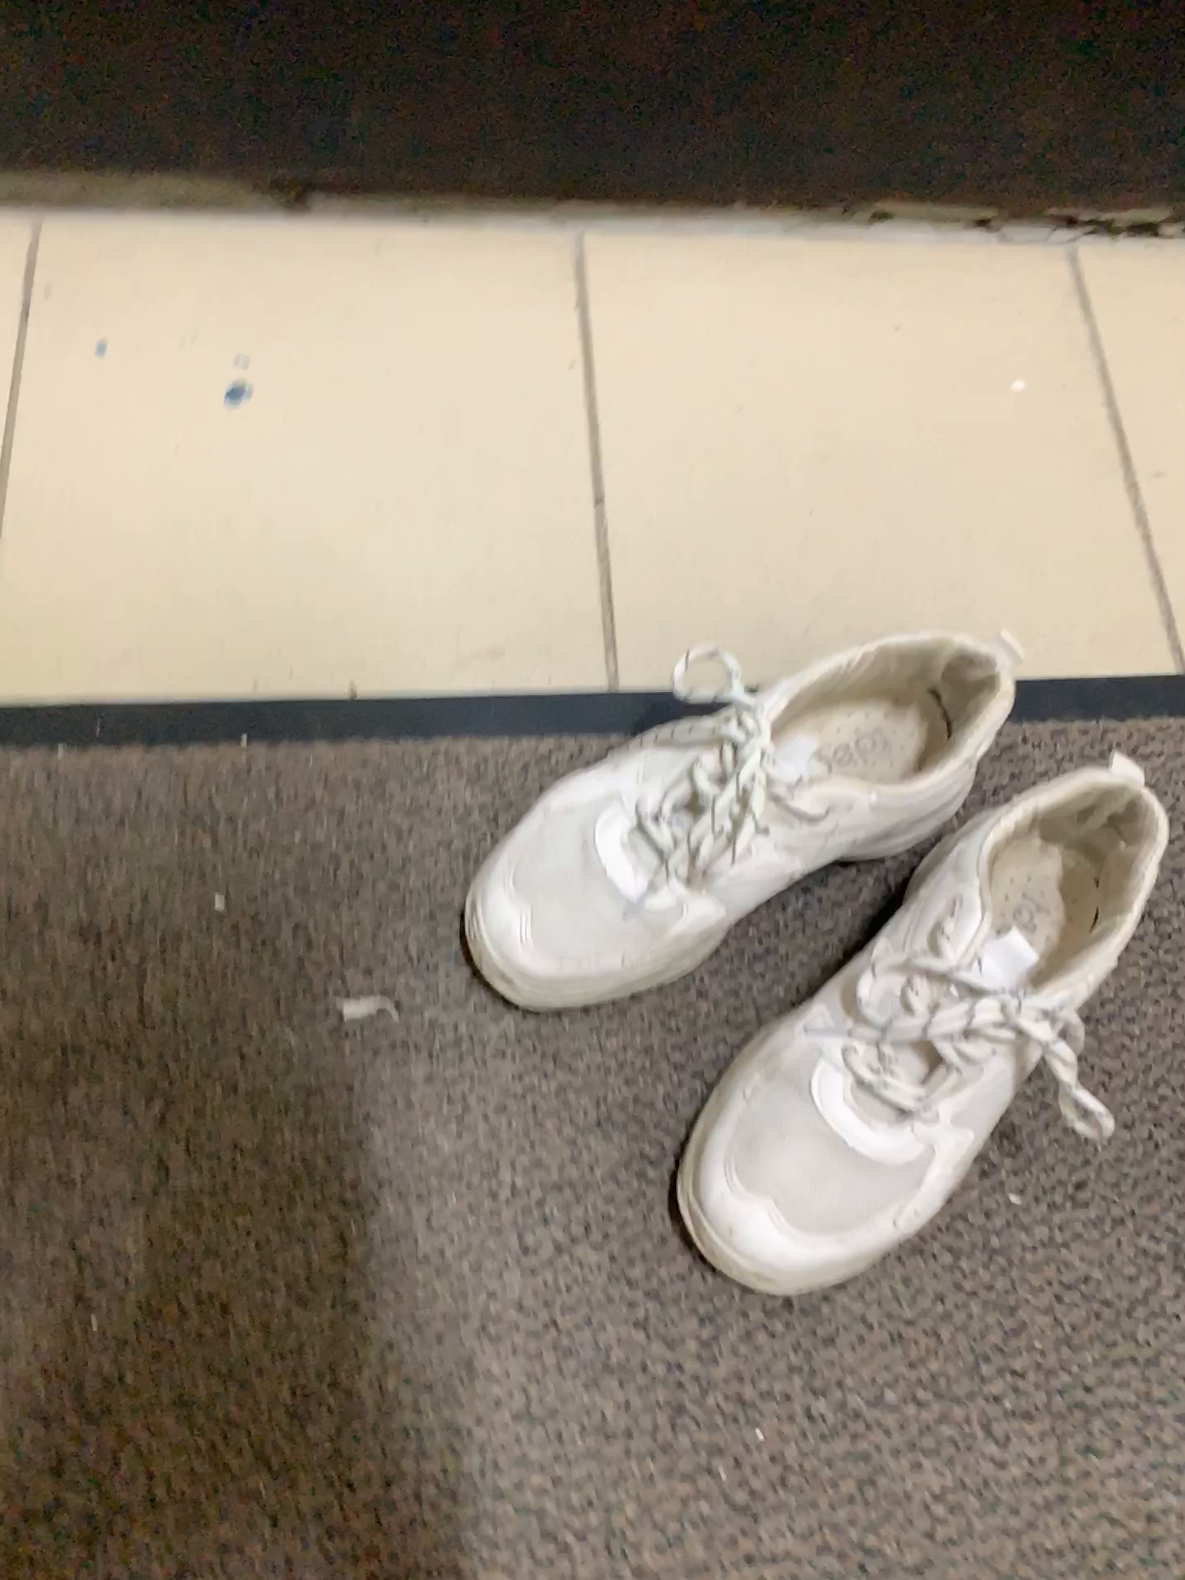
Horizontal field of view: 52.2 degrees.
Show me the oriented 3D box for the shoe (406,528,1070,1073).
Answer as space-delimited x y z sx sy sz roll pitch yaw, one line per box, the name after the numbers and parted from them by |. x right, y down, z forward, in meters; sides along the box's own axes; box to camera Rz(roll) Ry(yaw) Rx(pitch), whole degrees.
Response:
0.051 0.008 0.511 0.230 0.140 0.100 -25 71 -15 | shoe

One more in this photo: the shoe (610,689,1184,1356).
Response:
0.130 0.094 0.483 0.100 0.140 0.230 43 69 13 | shoe
